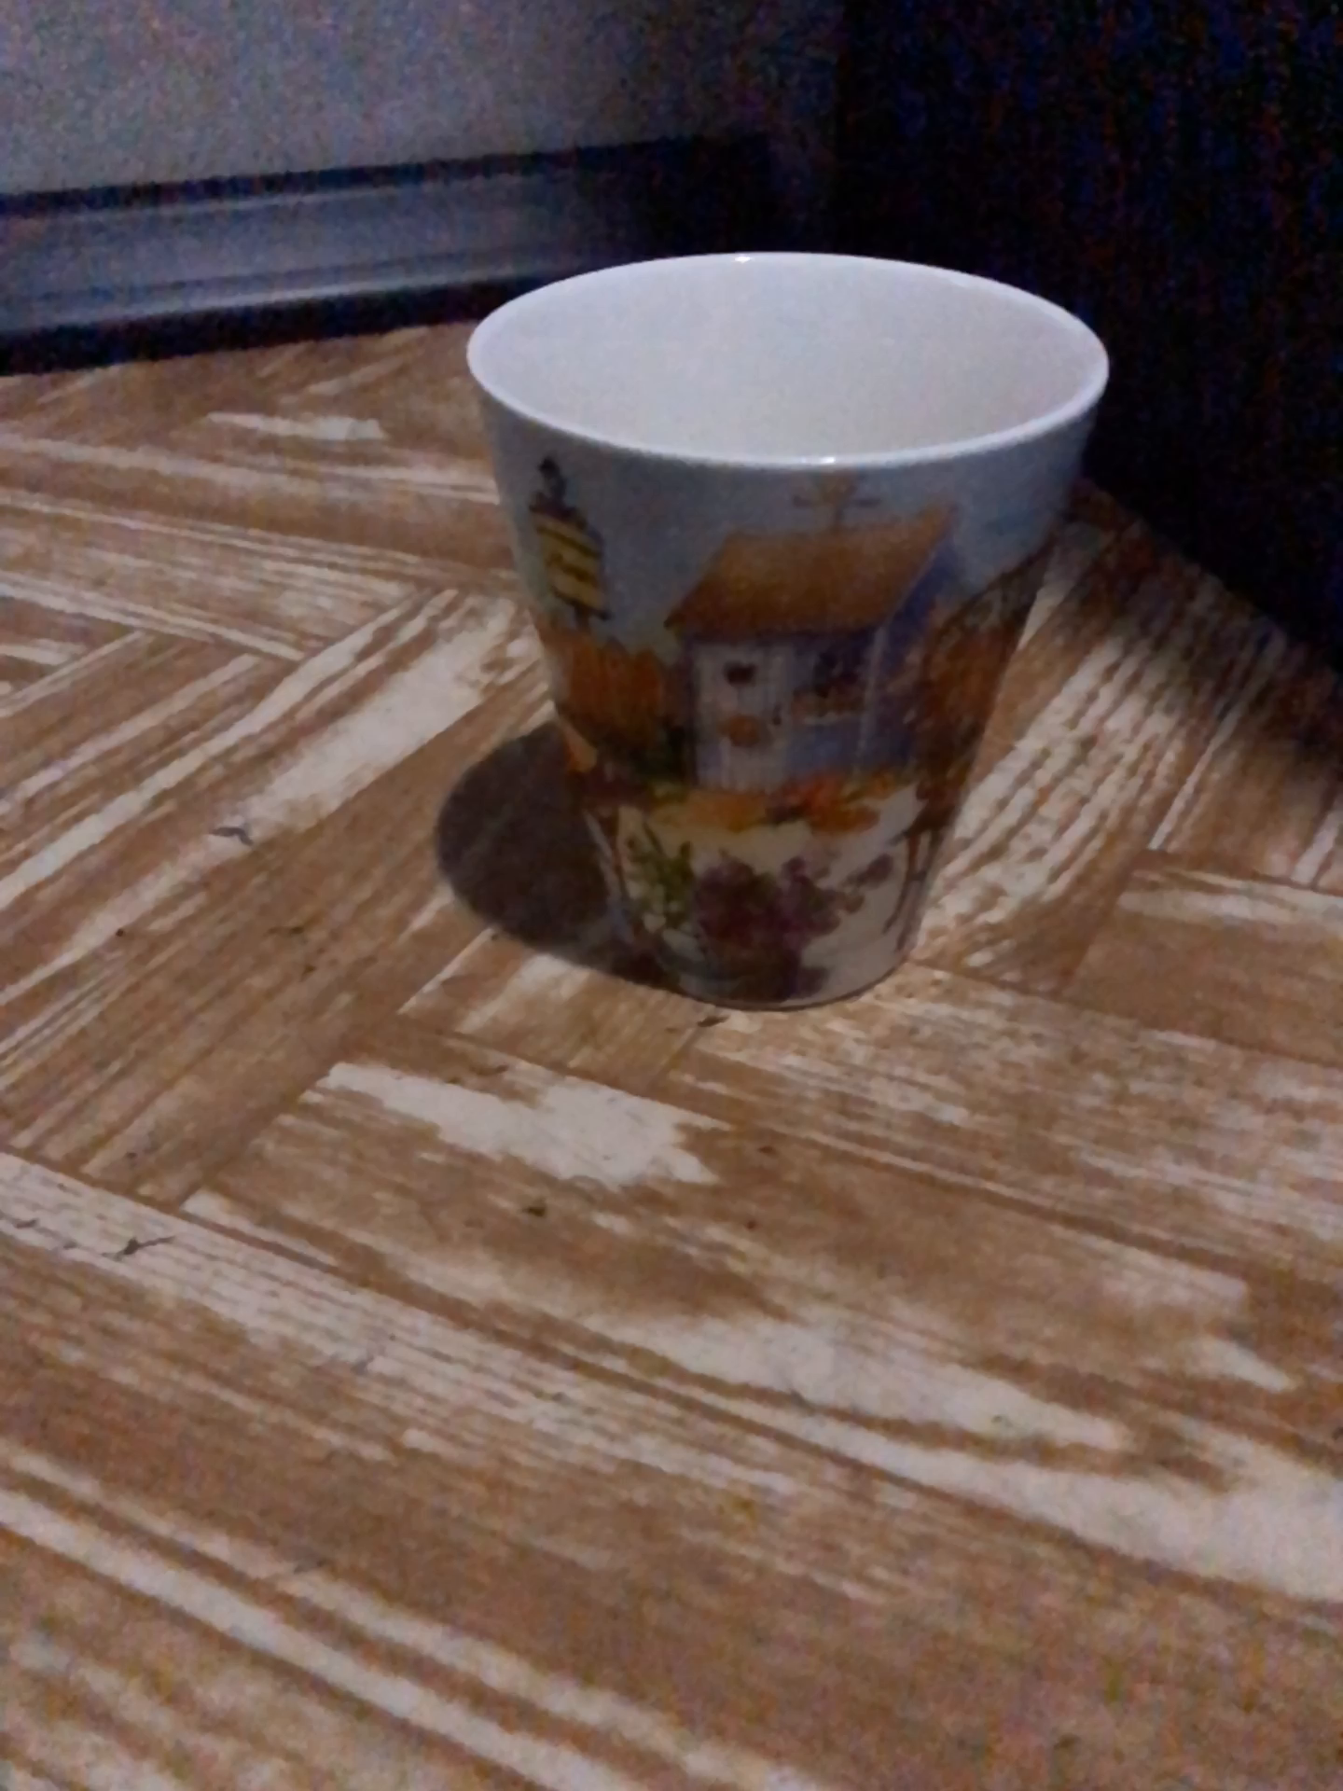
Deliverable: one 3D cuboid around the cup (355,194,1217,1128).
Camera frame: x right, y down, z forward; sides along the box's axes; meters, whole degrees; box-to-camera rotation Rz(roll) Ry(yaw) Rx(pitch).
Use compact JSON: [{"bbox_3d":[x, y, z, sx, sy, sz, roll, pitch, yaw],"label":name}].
[{"bbox_3d":[0.008,-0.044,0.232,0.079,0.090,0.112,-14,40,-16],"label":"cup"}]
